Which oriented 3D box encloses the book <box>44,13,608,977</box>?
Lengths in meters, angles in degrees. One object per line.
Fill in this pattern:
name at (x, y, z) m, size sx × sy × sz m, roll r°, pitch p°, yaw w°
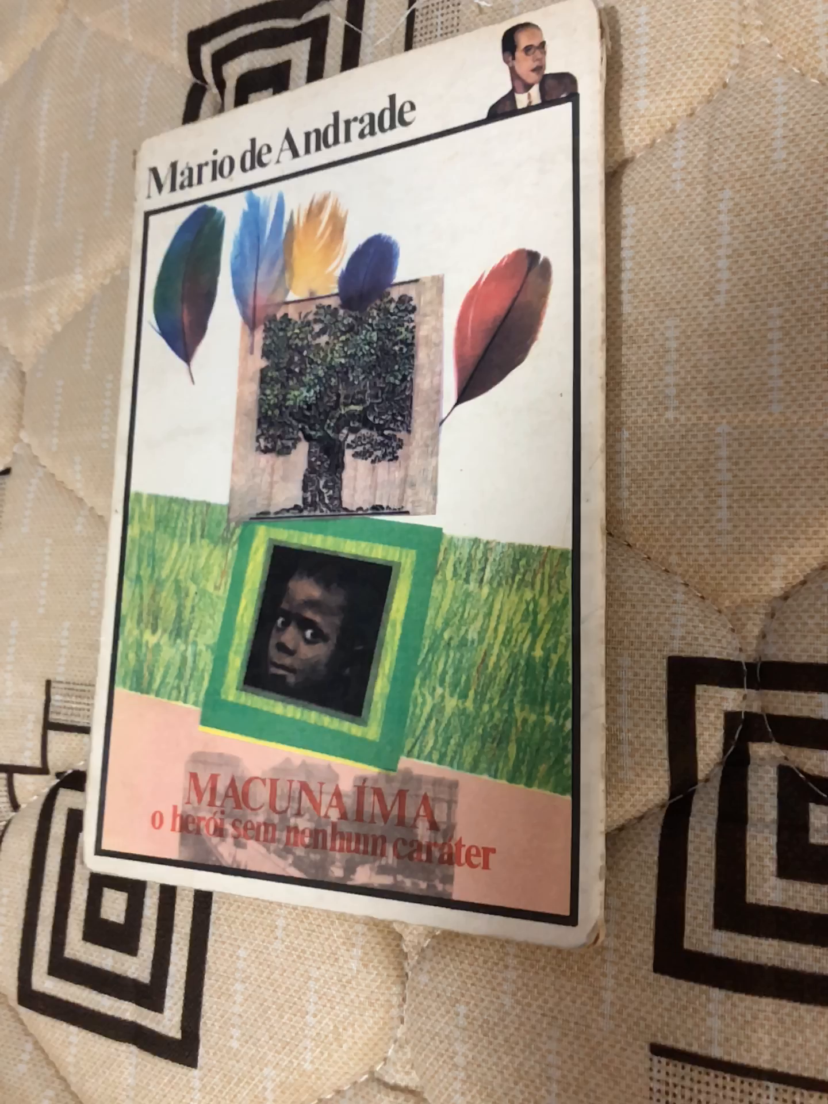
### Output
book at (-0.023, -0.015, 0.217) m, size 0.130 × 0.020 × 0.190 m, roll -2°, pitch 81°, yaw 27°
